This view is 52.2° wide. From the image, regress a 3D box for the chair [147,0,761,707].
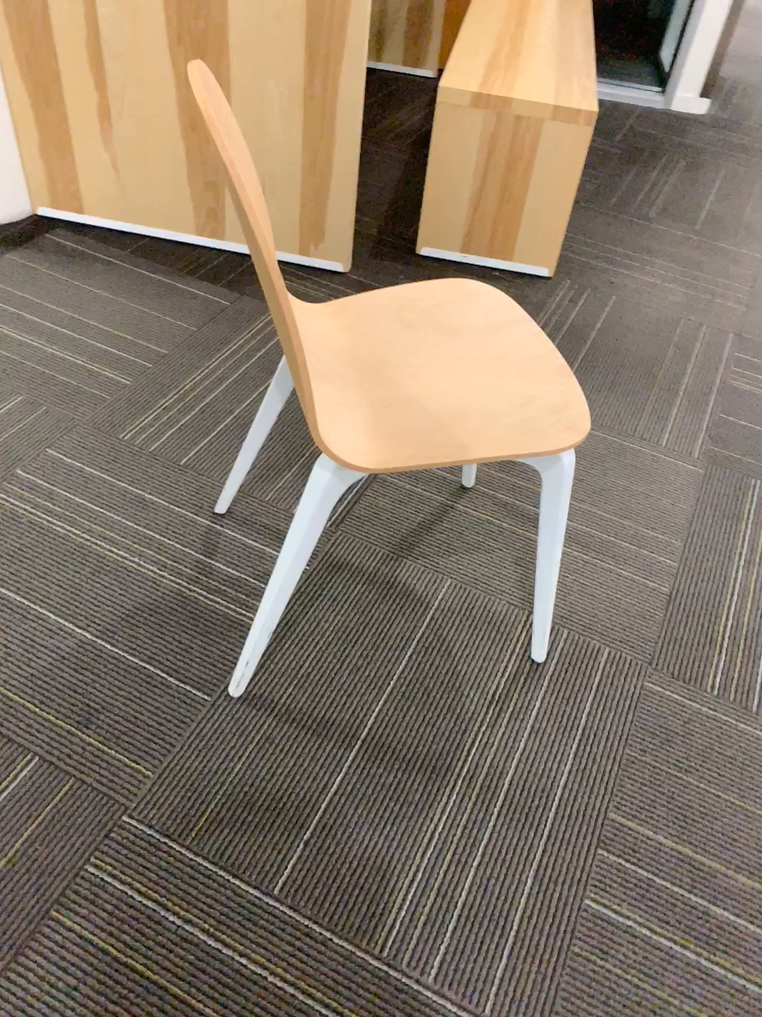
[{"bbox_3d":[0.017,-0.175,1.094,0.570,0.825,0.463,-4,46,-12],"label":"chair"}]
